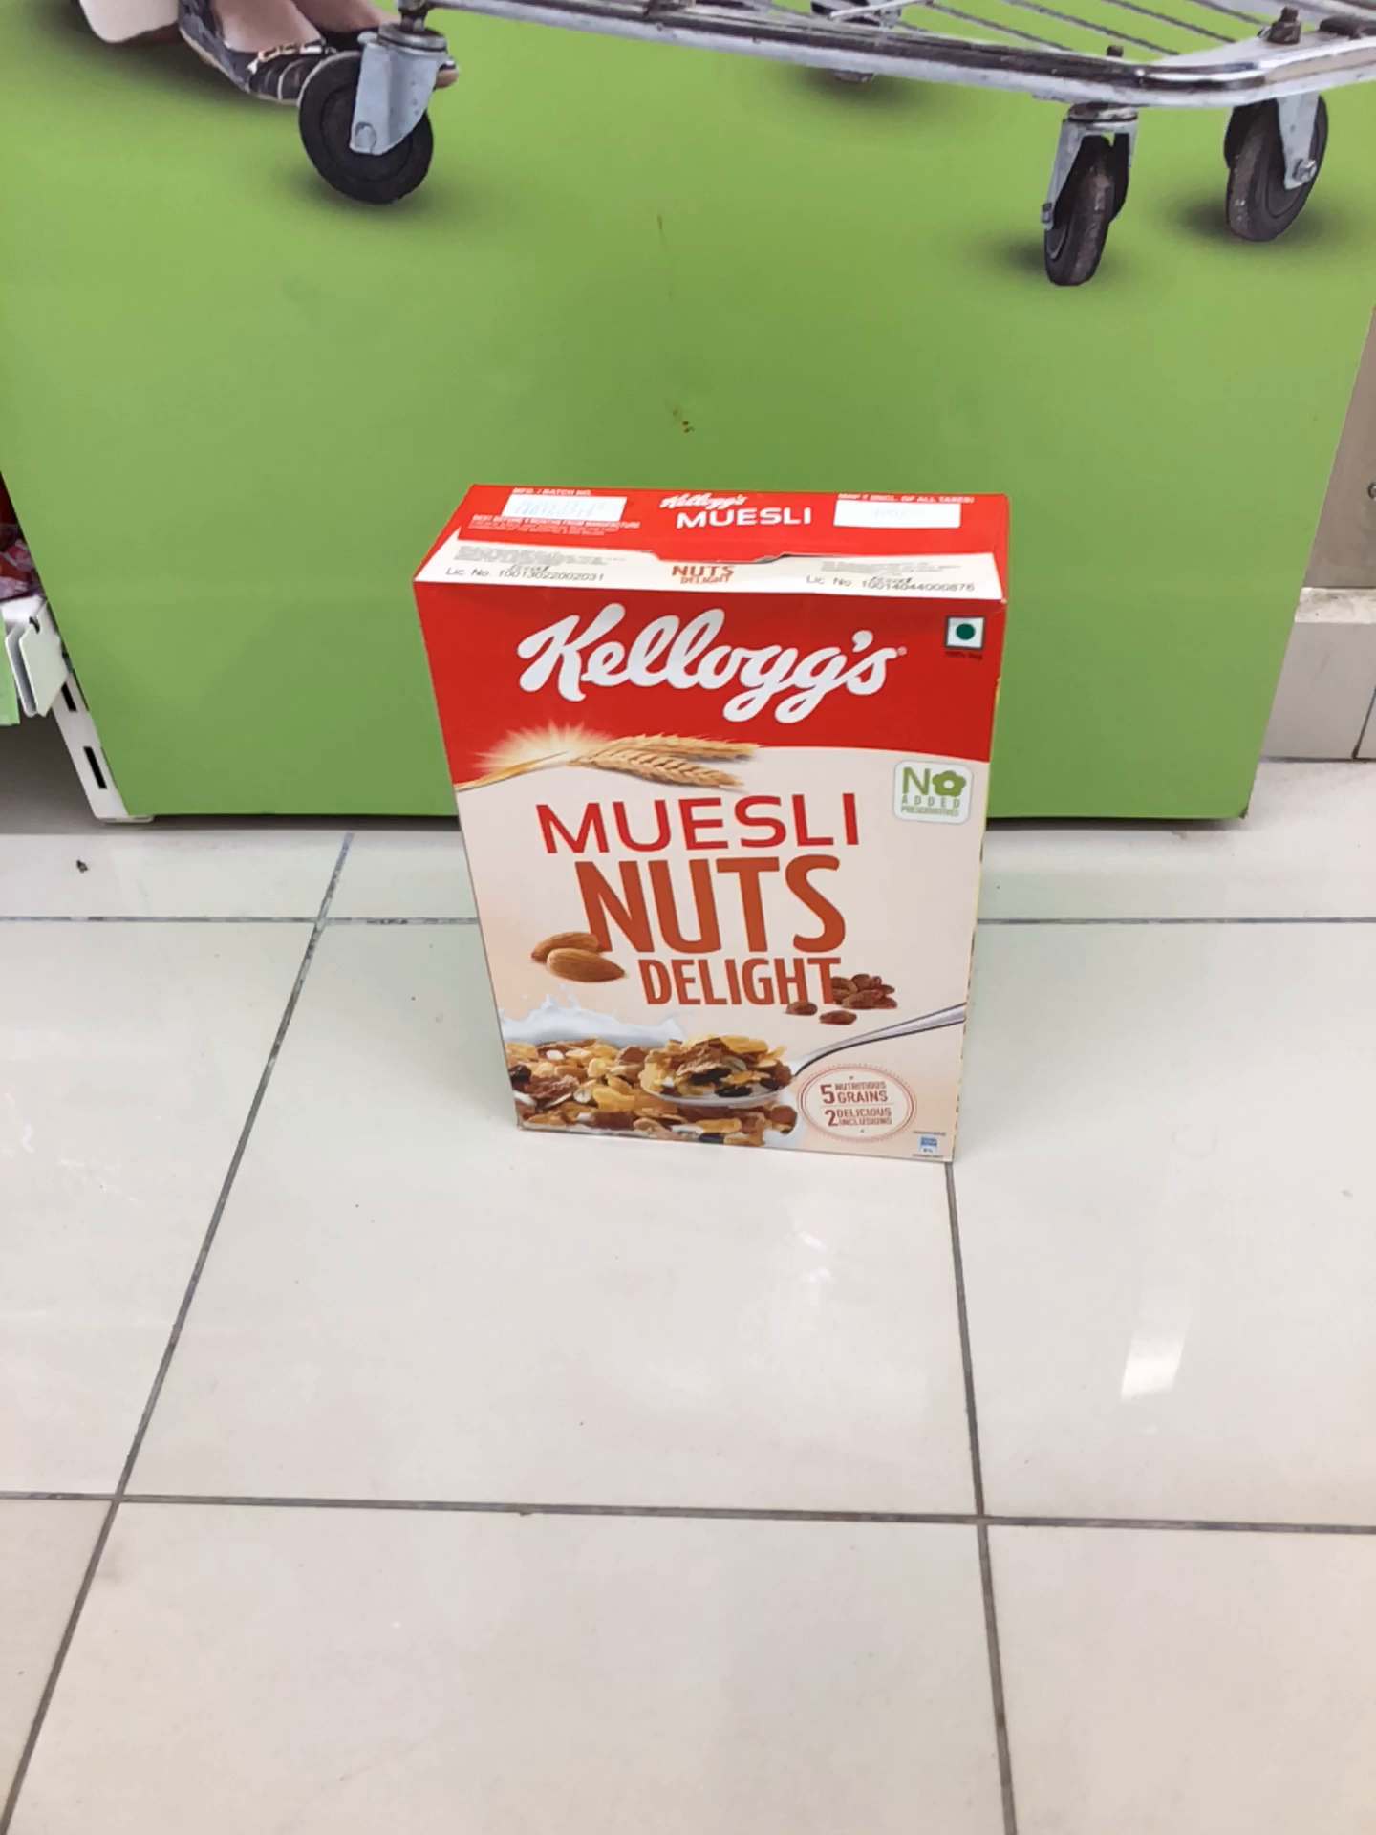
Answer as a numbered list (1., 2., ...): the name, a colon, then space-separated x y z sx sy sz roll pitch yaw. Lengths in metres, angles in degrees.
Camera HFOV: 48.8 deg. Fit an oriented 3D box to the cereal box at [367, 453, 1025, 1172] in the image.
1. cereal box: 0.011 -0.029 0.574 0.200 0.268 0.081 3 42 7
